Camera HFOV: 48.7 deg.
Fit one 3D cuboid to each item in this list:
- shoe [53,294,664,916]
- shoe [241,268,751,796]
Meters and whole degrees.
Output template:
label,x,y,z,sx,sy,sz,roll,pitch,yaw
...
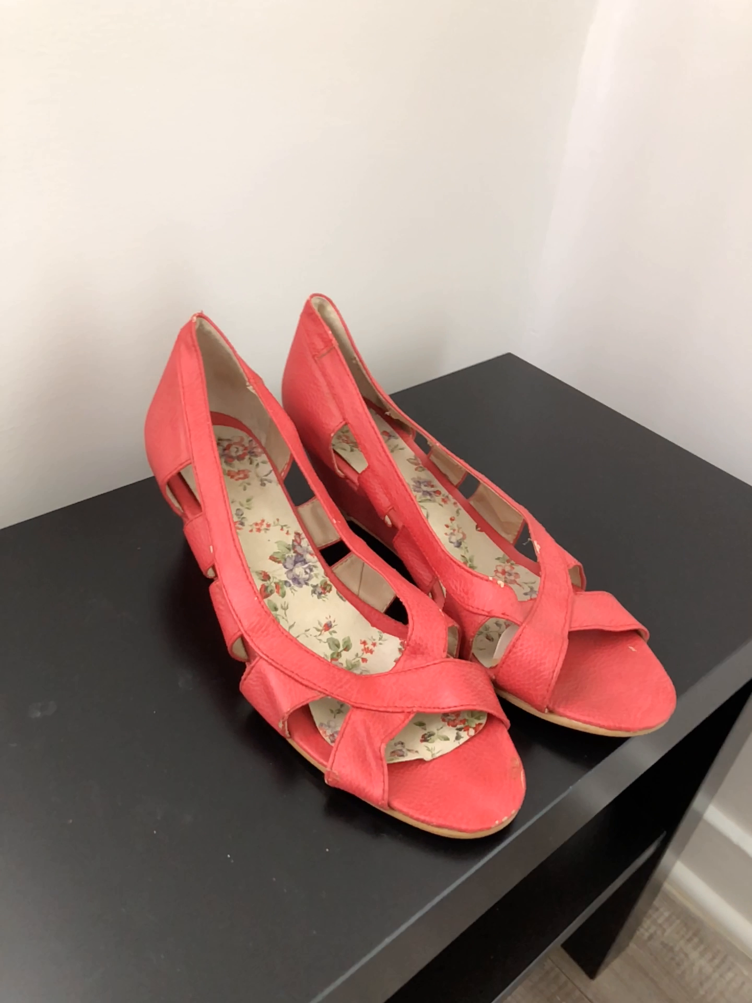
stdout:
label,x,y,z,sx,sy,sz,roll,pitch,yaw
shoe,-0.025,0.017,0.313,0.087,0.100,0.221,-24,47,-35
shoe,0.040,-0.005,0.355,0.077,0.100,0.231,-24,47,-35
